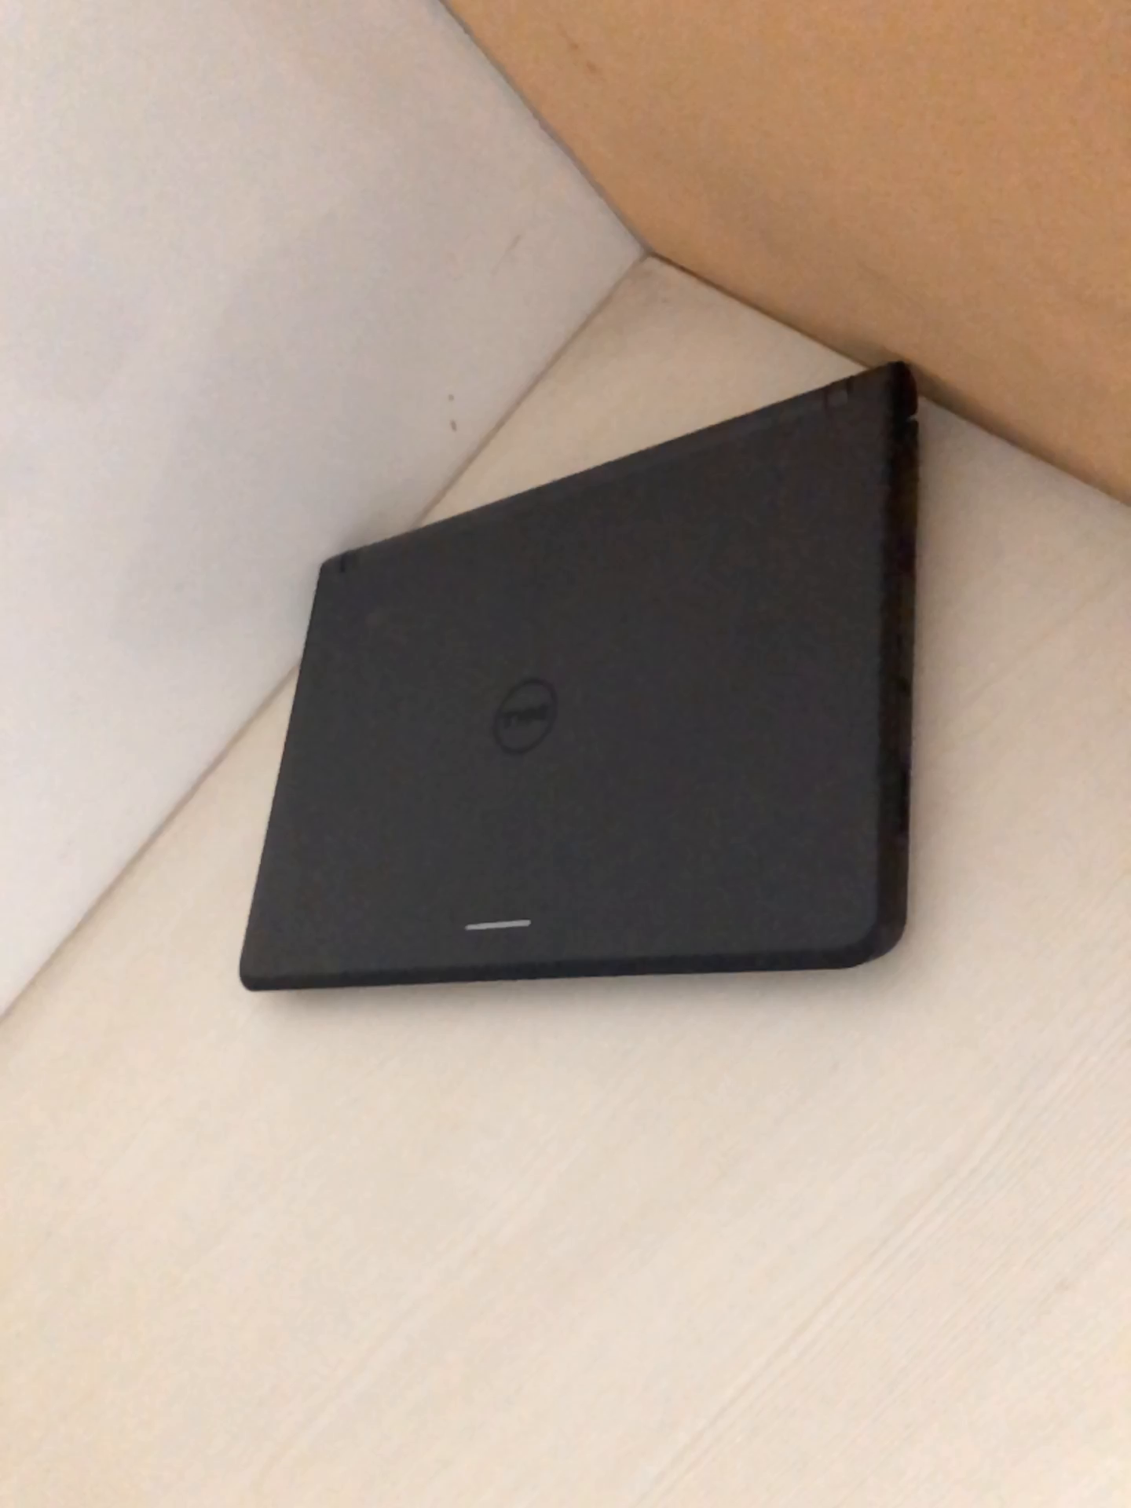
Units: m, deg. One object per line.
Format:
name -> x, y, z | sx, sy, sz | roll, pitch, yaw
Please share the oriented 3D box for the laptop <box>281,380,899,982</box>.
laptop -> 0.000, -0.019, 0.520 | 0.291, 0.007, 0.228 | -10, 60, 38
